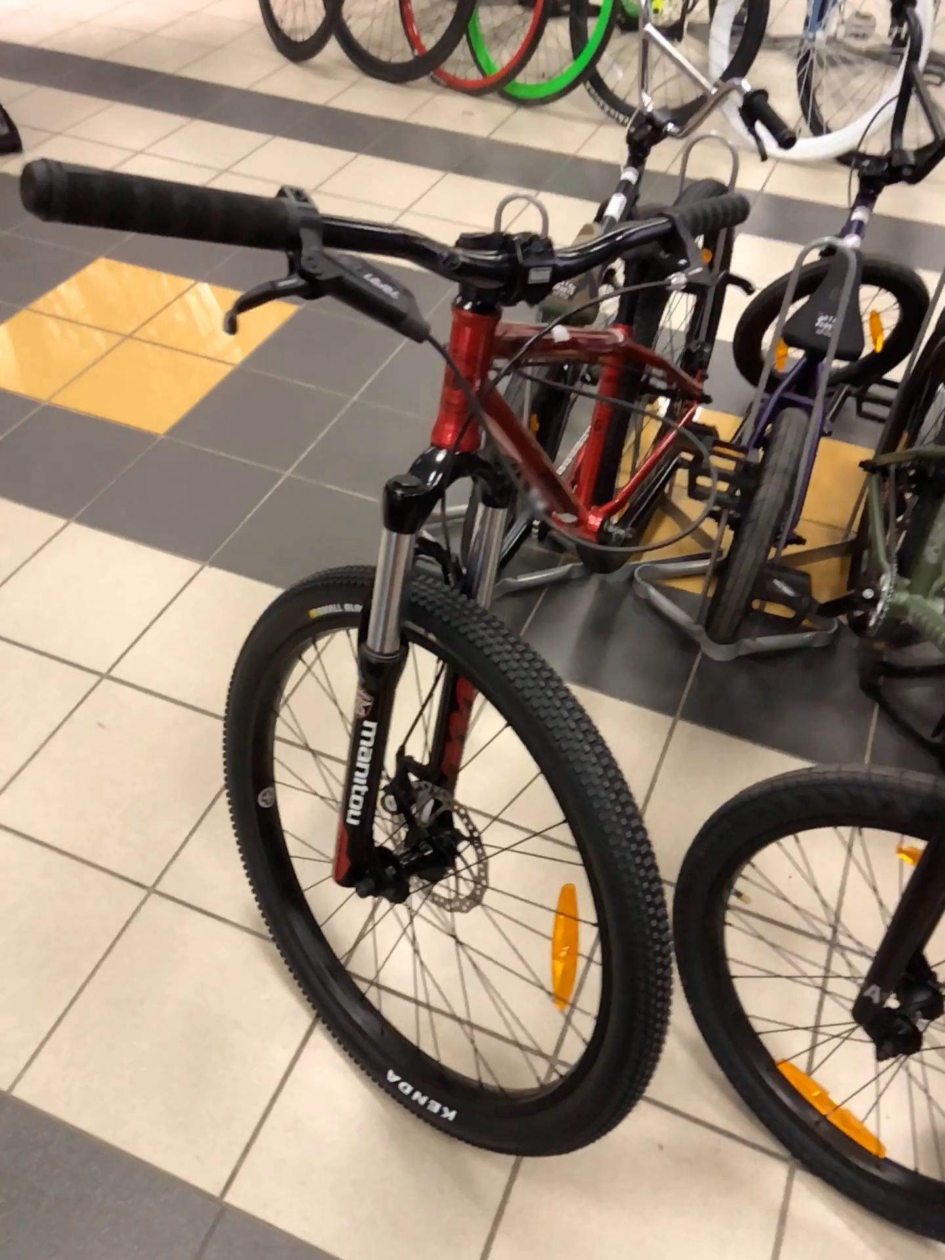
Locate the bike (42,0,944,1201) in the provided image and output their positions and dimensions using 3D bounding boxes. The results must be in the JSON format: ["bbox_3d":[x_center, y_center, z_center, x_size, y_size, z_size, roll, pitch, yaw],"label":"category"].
[{"bbox_3d":[0.225,-0.295,1.325,0.712,0.998,1.343,12,45,10],"label":"bike"}]
